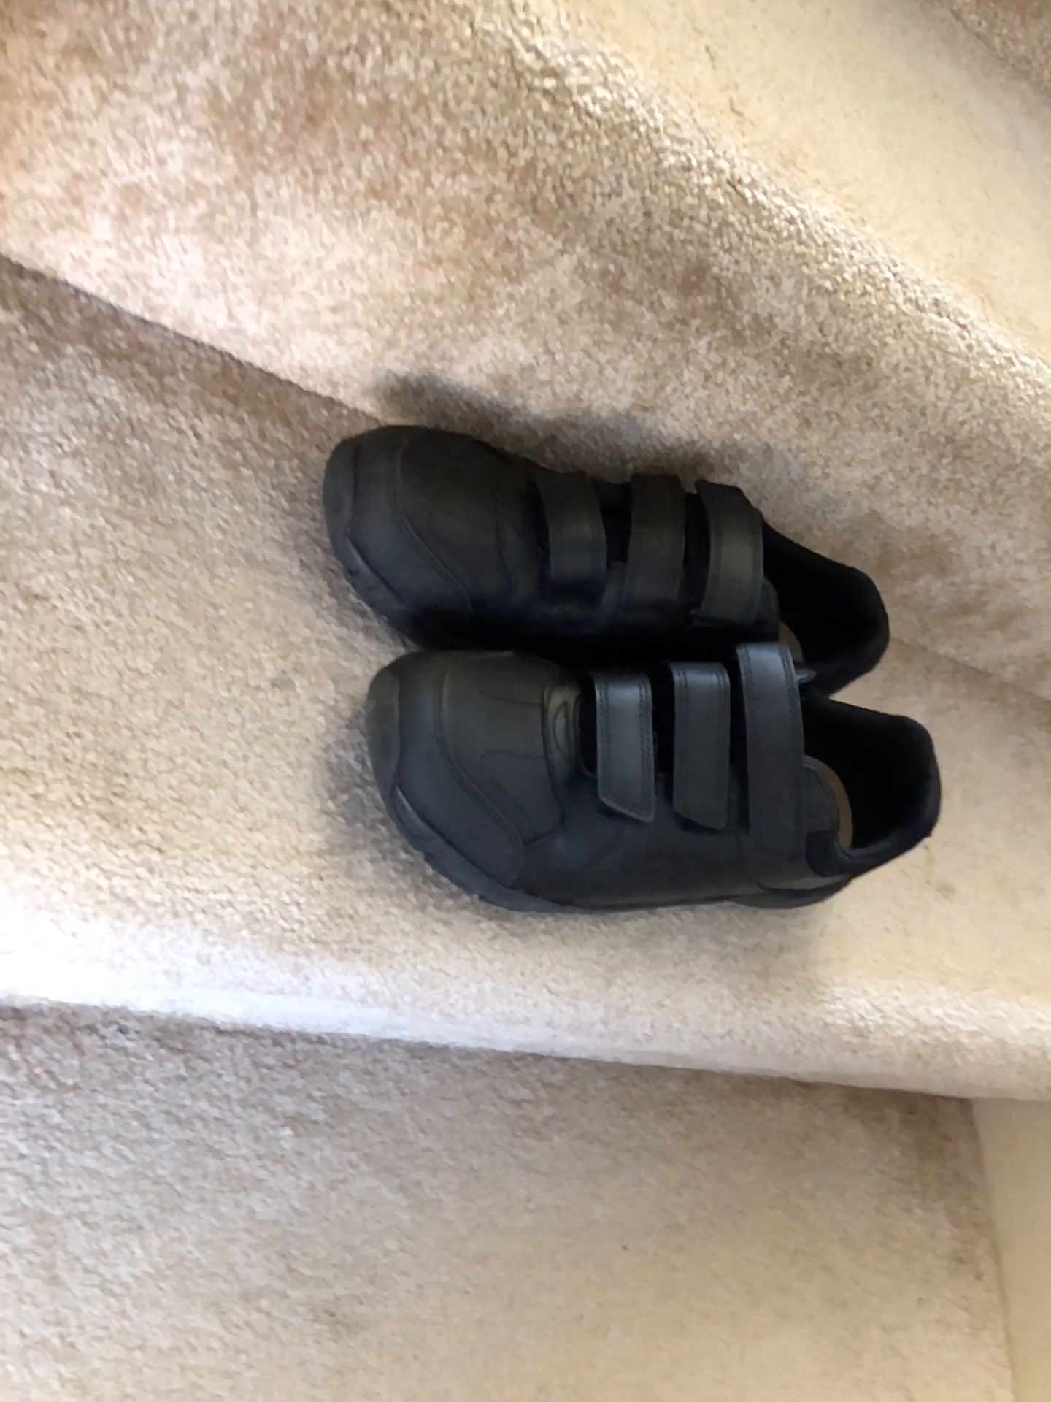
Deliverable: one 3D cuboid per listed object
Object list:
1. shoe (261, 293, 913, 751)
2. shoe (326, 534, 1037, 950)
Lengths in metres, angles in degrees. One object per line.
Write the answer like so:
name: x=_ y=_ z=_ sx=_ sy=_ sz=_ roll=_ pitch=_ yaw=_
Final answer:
shoe: x=0.032 y=-0.060 z=0.506 sx=0.271 sy=0.099 sz=0.100 roll=11 pitch=62 yaw=-34
shoe: x=0.068 y=0.033 z=0.459 sx=0.271 sy=0.099 sz=0.100 roll=11 pitch=62 yaw=-34
